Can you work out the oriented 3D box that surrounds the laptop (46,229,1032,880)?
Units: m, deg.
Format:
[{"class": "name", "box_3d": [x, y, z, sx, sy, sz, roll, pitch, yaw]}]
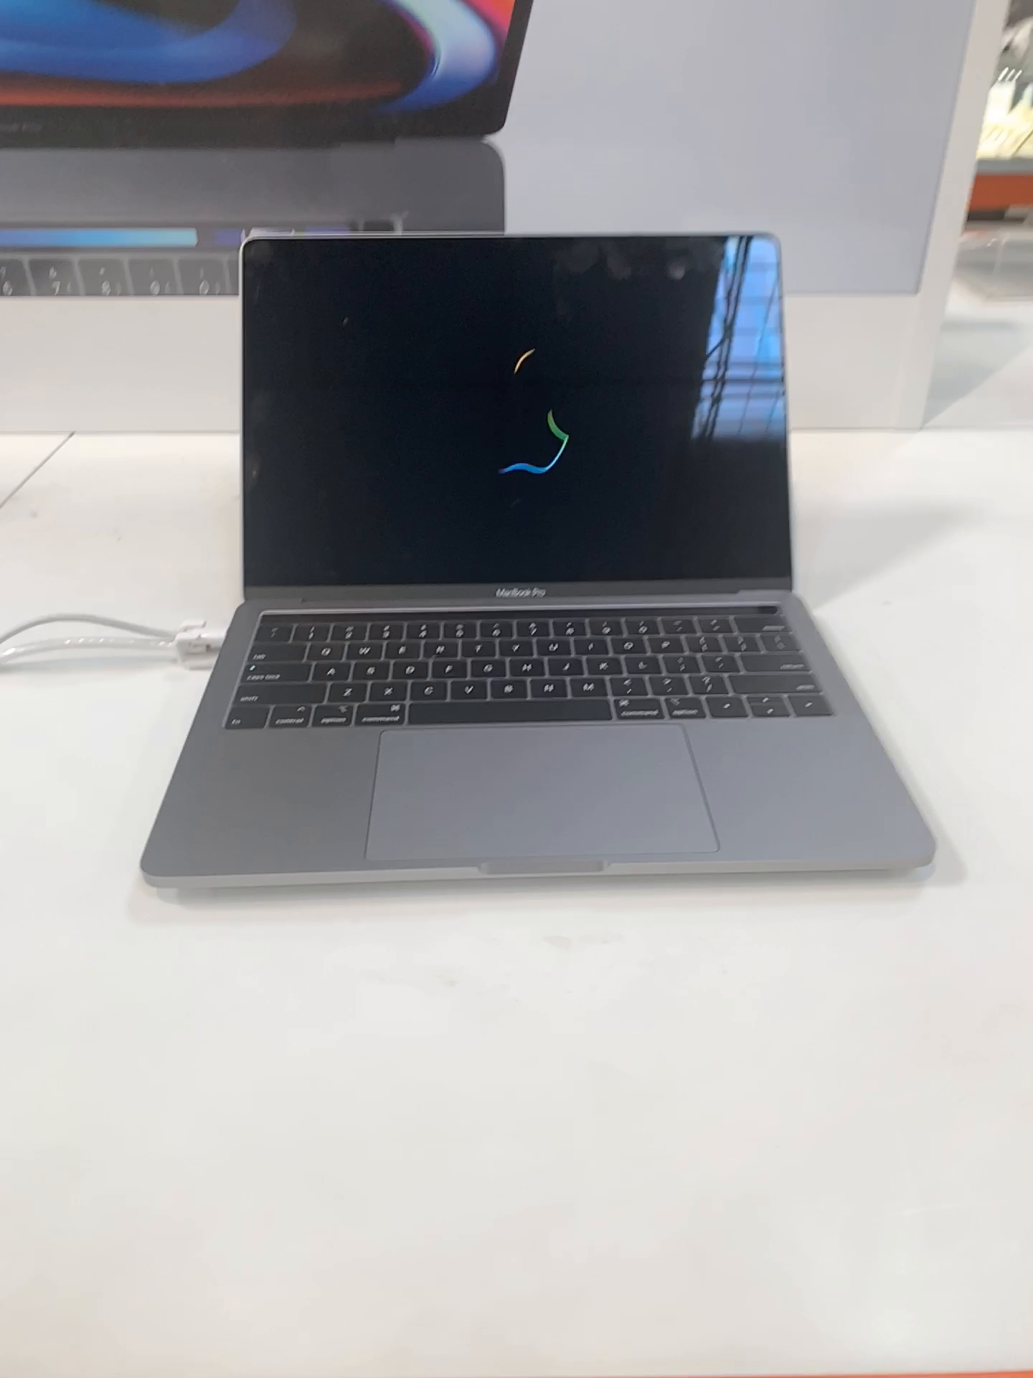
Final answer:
[{"class": "laptop", "box_3d": [0.006, -0.089, 0.469, 0.284, 0.150, 0.317, -1, 35, -2]}]
